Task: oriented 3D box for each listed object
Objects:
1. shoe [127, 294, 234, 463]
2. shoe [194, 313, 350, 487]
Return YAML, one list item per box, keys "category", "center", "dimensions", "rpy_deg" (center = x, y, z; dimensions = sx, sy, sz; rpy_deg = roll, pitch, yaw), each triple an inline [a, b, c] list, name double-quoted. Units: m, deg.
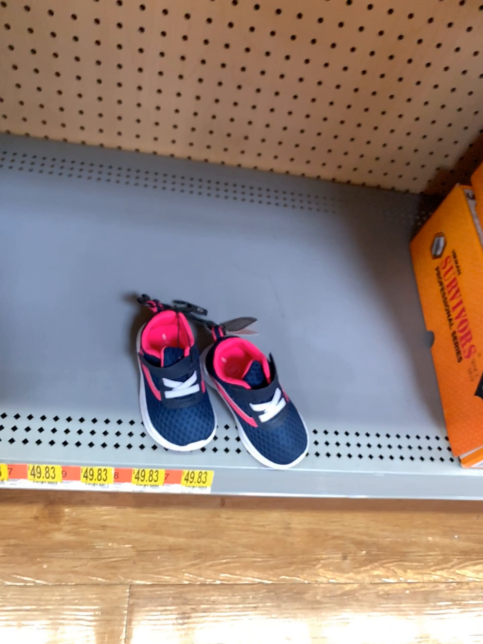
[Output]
- category: "shoe"
  center: [-0.066, 0.054, 0.500]
  dimensions: [0.073, 0.064, 0.146]
  rpy_deg: [-7, 62, -18]
- category: "shoe"
  center: [0.026, 0.077, 0.509]
  dimensions: [0.073, 0.064, 0.146]
  rpy_deg: [-27, 70, -26]
